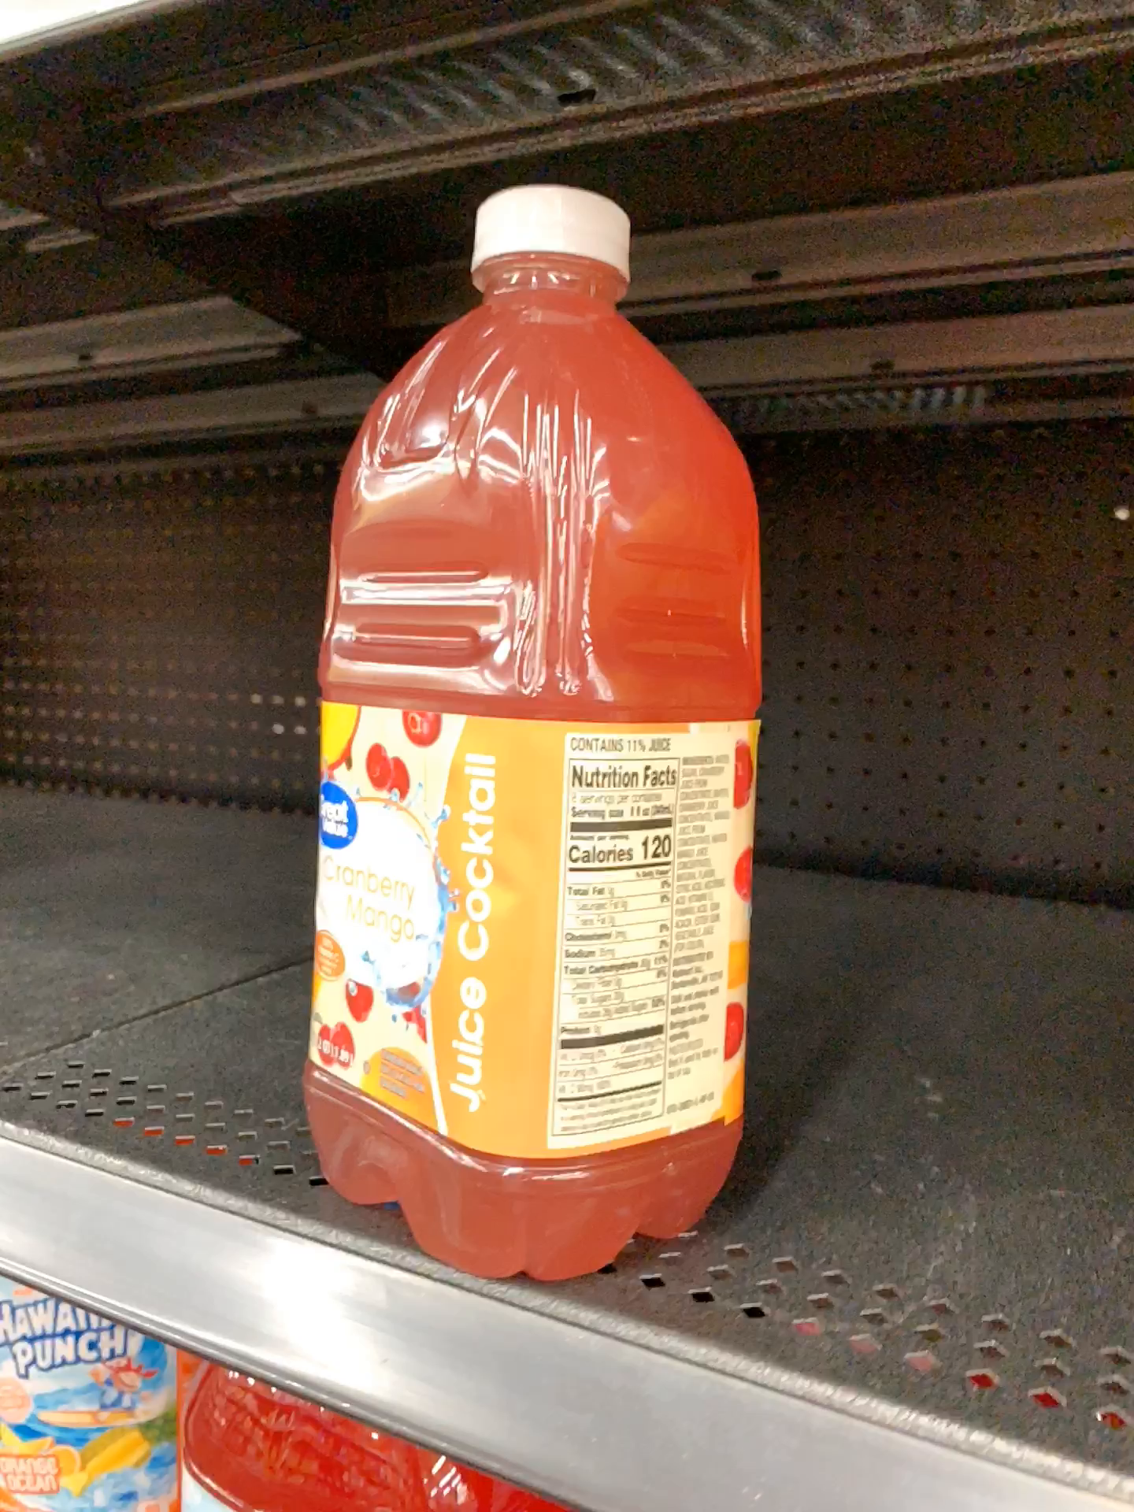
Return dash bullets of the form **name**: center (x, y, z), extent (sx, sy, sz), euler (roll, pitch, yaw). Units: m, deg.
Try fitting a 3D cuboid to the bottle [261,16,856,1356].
- **bottle**: center (-0.008, -0.015, 0.318), extent (0.101, 0.272, 0.119), euler (-4, 7, -40)
